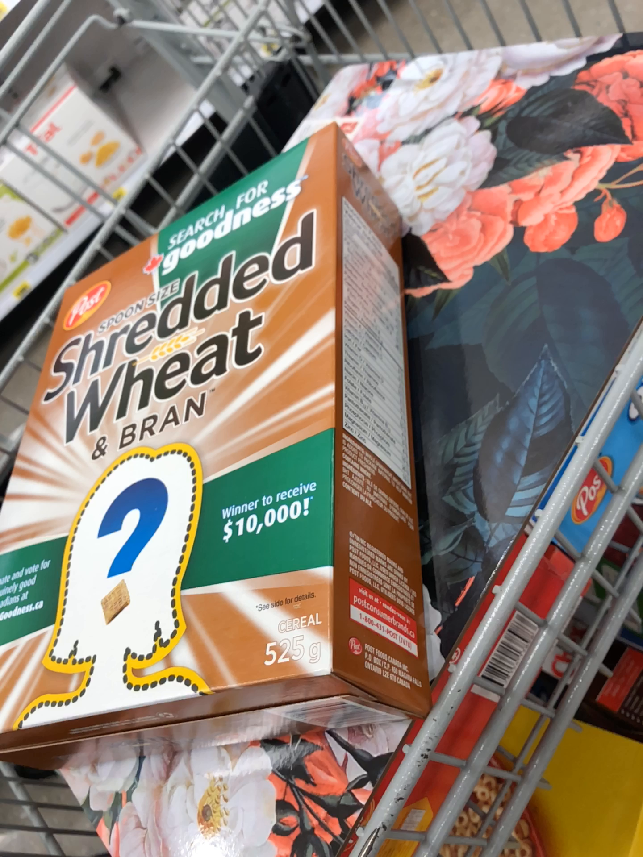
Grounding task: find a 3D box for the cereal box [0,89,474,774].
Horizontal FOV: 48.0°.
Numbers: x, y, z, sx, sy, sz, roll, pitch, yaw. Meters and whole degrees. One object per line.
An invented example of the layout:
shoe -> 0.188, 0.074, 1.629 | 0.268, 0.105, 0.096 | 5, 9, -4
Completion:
cereal box -> -0.060, -0.010, 0.365 | 0.221, 0.070, 0.300 | -22, 47, 25
